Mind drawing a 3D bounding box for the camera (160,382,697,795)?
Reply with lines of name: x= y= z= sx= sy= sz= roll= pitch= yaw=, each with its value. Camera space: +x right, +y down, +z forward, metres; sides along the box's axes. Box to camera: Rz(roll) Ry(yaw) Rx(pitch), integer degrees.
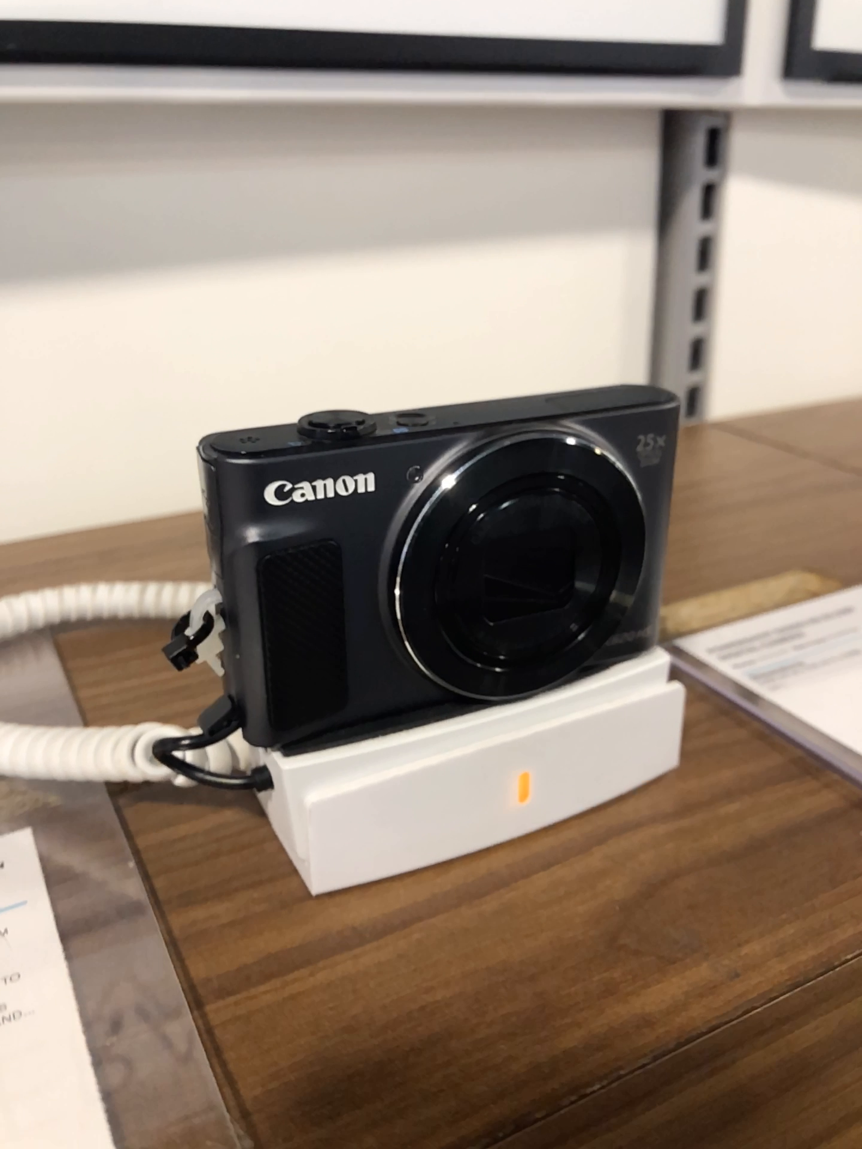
camera: x=0.002 y=-0.002 z=0.197 sx=0.100 sy=0.060 sz=0.030 roll=-11 pitch=23 yaw=-23
